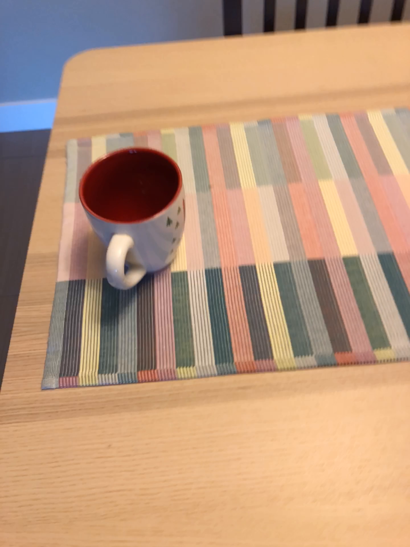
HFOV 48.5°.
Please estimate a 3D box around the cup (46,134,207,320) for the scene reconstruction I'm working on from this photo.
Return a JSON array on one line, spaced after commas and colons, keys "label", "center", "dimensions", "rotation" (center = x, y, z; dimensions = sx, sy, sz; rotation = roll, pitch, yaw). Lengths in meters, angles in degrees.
[{"label": "cup", "center": [-0.062, -0.045, 0.428], "dimensions": [0.100, 0.090, 0.140], "rotation": [6, 56, 8]}]
